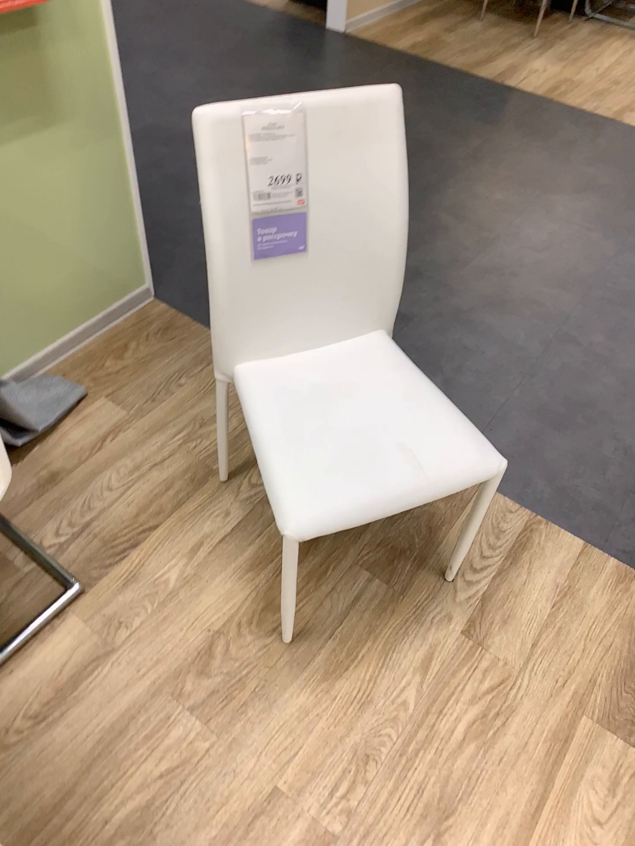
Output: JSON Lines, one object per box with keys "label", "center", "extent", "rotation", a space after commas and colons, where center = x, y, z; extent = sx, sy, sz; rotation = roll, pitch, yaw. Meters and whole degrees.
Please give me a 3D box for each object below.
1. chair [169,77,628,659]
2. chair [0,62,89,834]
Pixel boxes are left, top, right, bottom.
{"label": "chair", "center": [0.049, -0.057, 1.264], "extent": [0.451, 0.925, 0.552], "rotation": [-15, 51, -18]}
{"label": "chair", "center": [-0.808, 0.104, 0.973], "extent": [0.451, 0.945, 0.562], "rotation": [31, 53, 21]}
